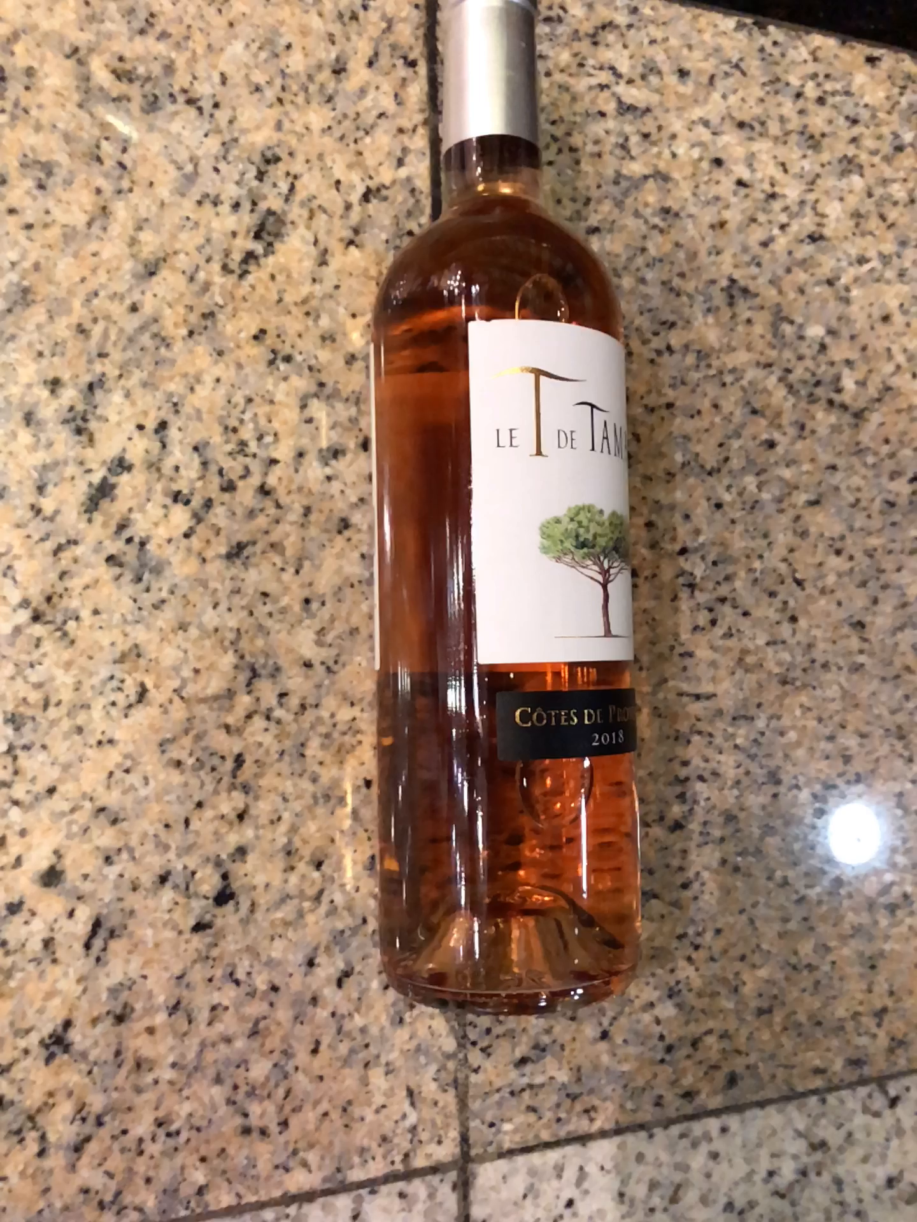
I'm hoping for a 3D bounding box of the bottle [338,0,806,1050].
[{"bbox_3d":[0.023,-0.066,0.275,0.090,0.080,0.320,0,87,-19],"label":"bottle"}]
